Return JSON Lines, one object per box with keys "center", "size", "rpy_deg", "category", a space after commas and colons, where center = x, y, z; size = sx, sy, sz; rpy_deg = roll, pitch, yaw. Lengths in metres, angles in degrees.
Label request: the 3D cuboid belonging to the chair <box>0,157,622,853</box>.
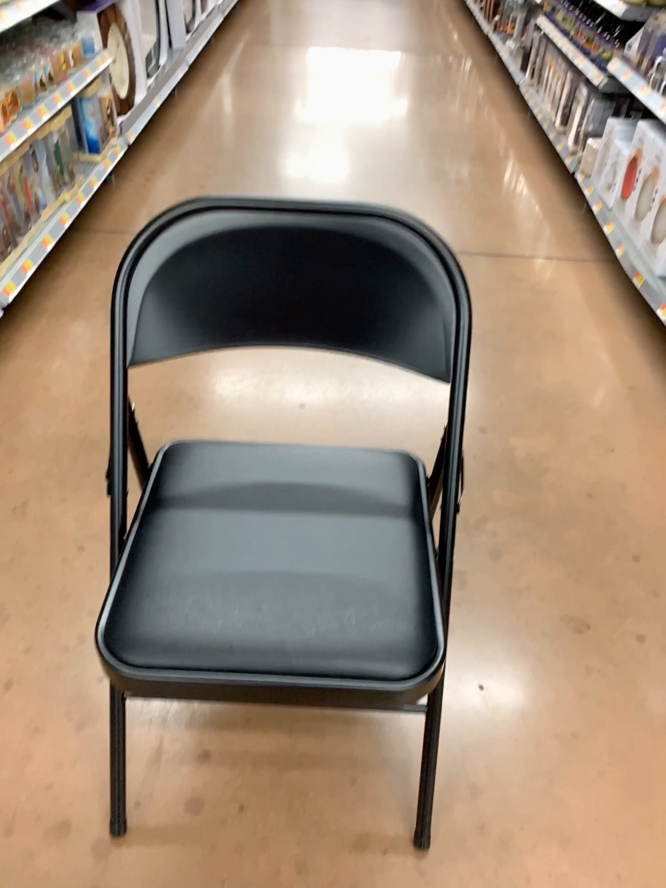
{"center": [-0.068, 0.104, 0.826], "size": [0.470, 0.697, 0.472], "rpy_deg": [3, 42, -1], "category": "chair"}
